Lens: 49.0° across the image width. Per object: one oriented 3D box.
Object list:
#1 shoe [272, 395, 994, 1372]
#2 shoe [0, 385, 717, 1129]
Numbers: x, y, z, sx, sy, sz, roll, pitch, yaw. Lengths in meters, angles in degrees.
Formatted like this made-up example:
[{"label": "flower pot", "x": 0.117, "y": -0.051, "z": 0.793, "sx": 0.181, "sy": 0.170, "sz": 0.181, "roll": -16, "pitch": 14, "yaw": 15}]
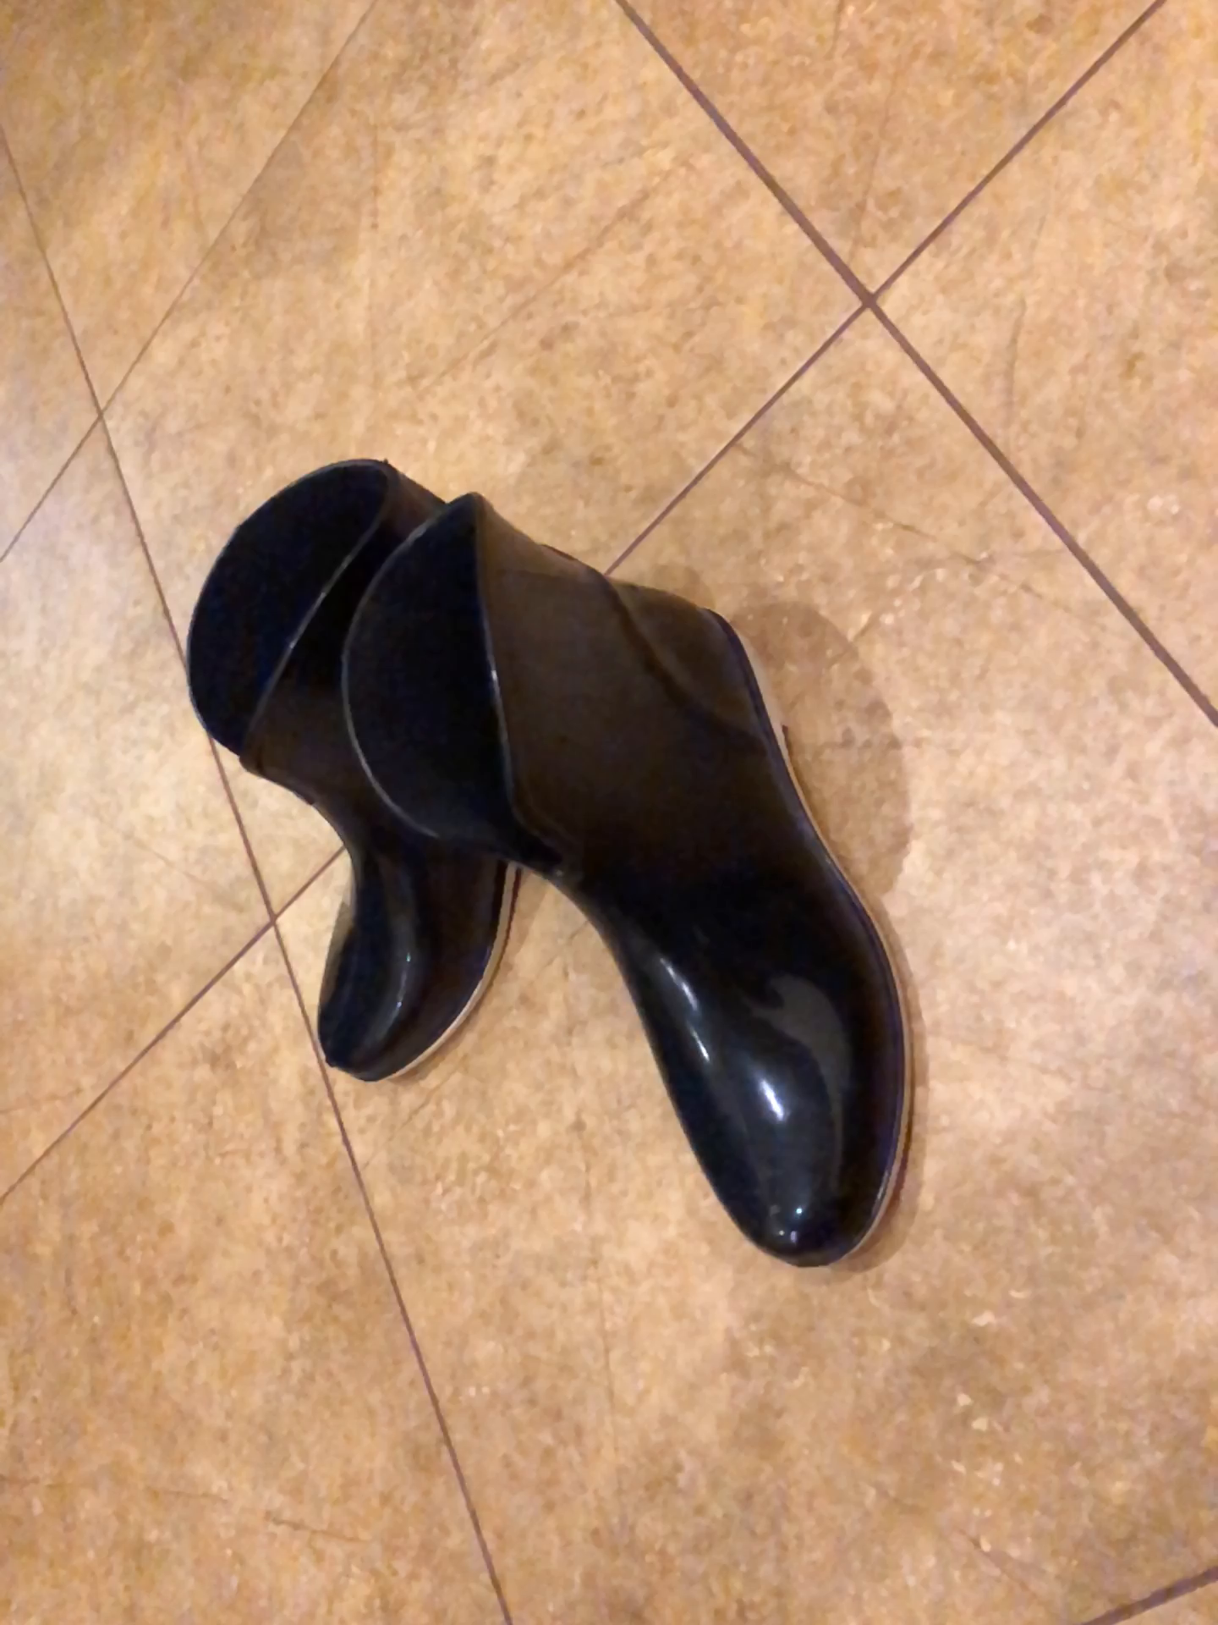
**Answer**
[{"label": "shoe", "x": 0.006, "y": 0.025, "z": 0.413, "sx": 0.090, "sy": 0.169, "sz": 0.240, "roll": -27, "pitch": 65, "yaw": 34}, {"label": "shoe", "x": -0.097, "y": -0.005, "z": 0.510, "sx": 0.090, "sy": 0.169, "sz": 0.240, "roll": 41, "pitch": 108, "yaw": 38}]
